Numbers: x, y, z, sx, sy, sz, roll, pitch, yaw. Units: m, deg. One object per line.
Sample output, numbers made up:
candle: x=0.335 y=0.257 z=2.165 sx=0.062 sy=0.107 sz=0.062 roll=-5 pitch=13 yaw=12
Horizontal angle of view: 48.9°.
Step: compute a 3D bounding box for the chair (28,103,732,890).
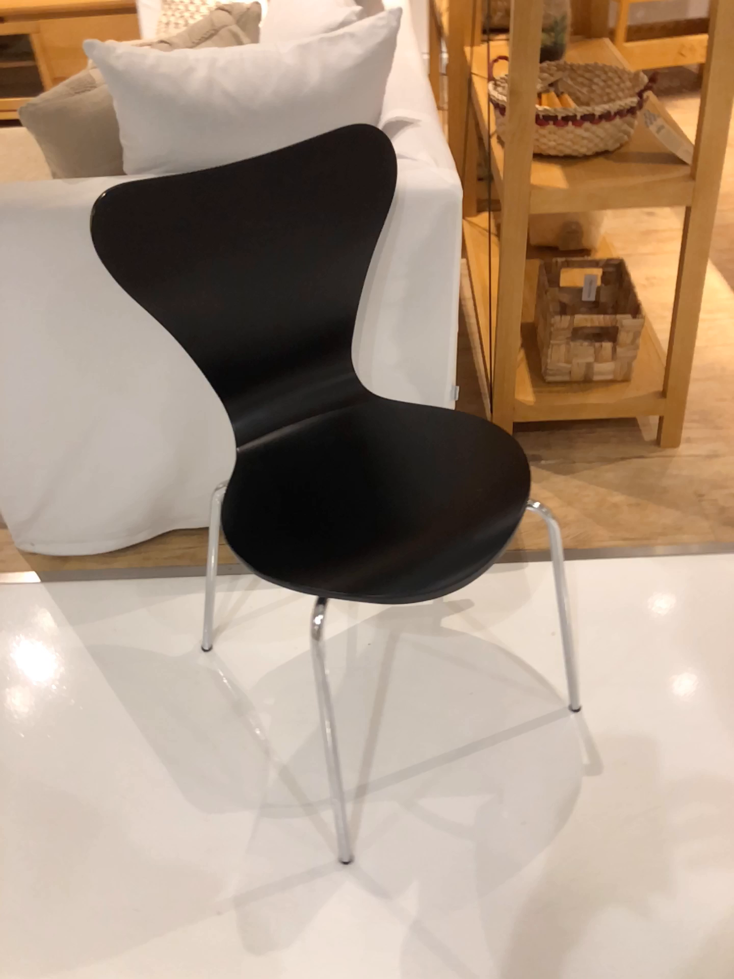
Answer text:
chair: x=0.000 y=-0.002 z=1.119 sx=0.541 sy=0.774 sz=0.553 roll=-25 pitch=46 yaw=-22
